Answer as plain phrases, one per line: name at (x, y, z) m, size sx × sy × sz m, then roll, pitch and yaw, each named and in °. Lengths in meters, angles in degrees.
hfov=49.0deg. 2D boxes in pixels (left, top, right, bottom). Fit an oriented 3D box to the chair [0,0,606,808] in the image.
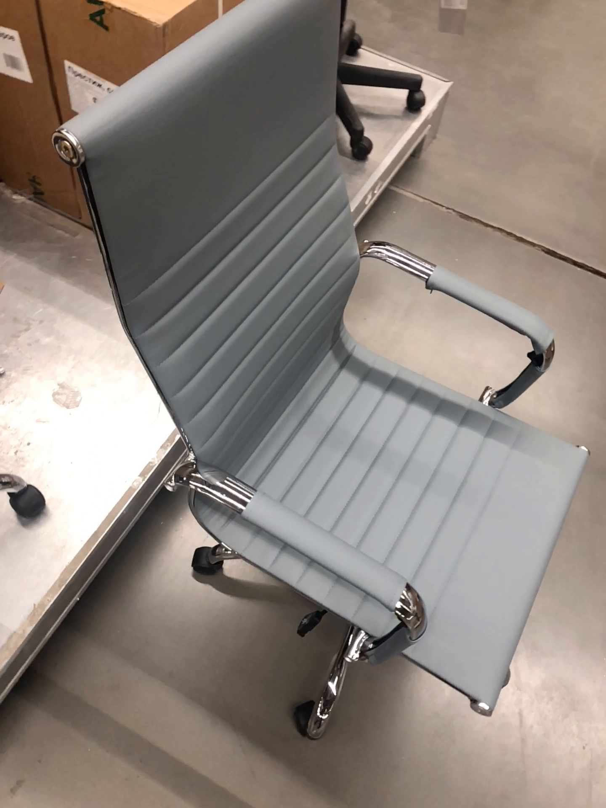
chair at (0.166, 0.097, 1.058) m, size 0.750 × 1.214 × 0.713 m, roll 29°, pitch 58°, yaw 12°
